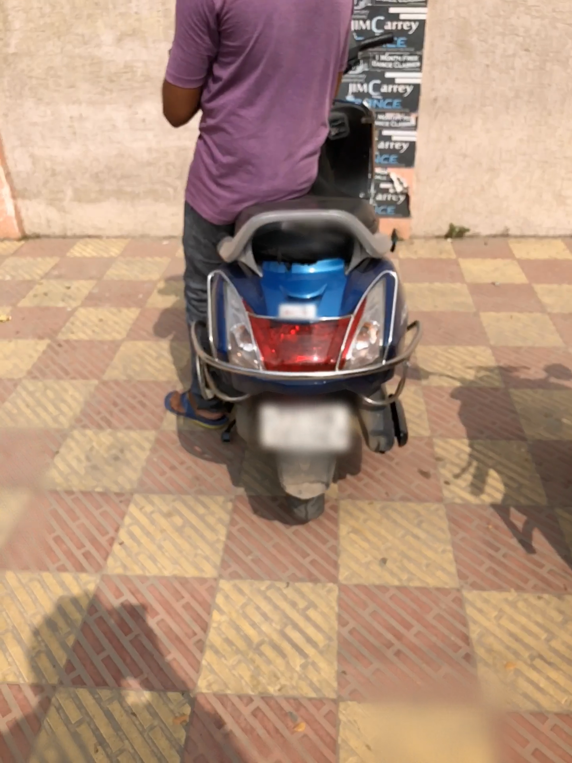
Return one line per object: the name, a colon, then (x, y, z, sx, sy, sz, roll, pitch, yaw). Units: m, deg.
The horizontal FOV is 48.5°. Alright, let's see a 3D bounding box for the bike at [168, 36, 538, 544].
bike: (0.108, -0.485, 2.073, 0.622, 1.037, 1.711, -2, 32, -1)
